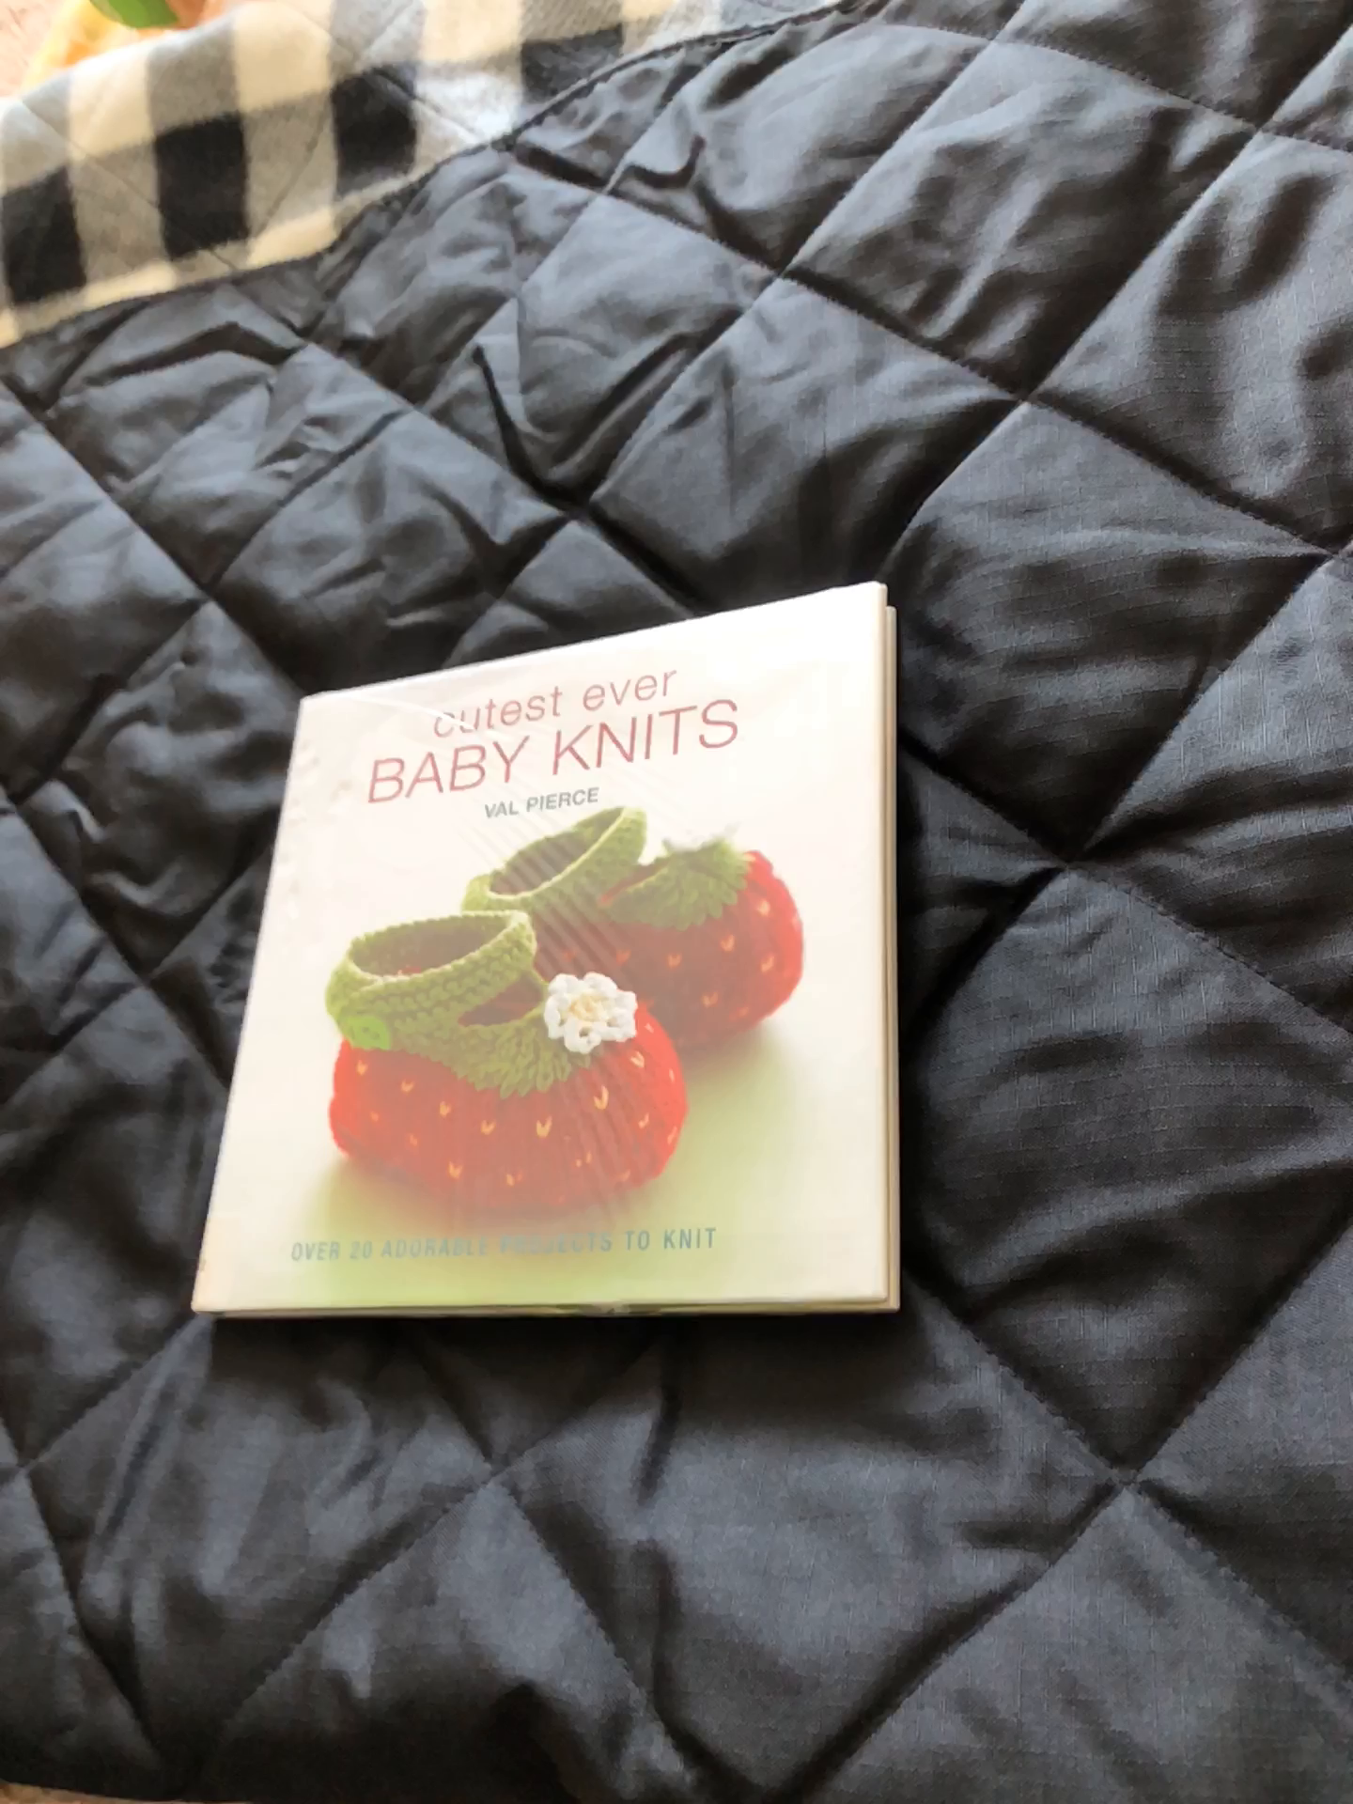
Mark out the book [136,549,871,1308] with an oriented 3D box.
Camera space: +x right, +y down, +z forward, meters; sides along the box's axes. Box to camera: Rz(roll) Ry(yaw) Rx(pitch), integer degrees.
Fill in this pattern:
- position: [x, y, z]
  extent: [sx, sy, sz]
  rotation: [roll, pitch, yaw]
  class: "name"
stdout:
- position: [-0.045, 0.008, 0.416]
  extent: [0.197, 0.020, 0.200]
  rotation: [-7, 64, 21]
  class: "book"
